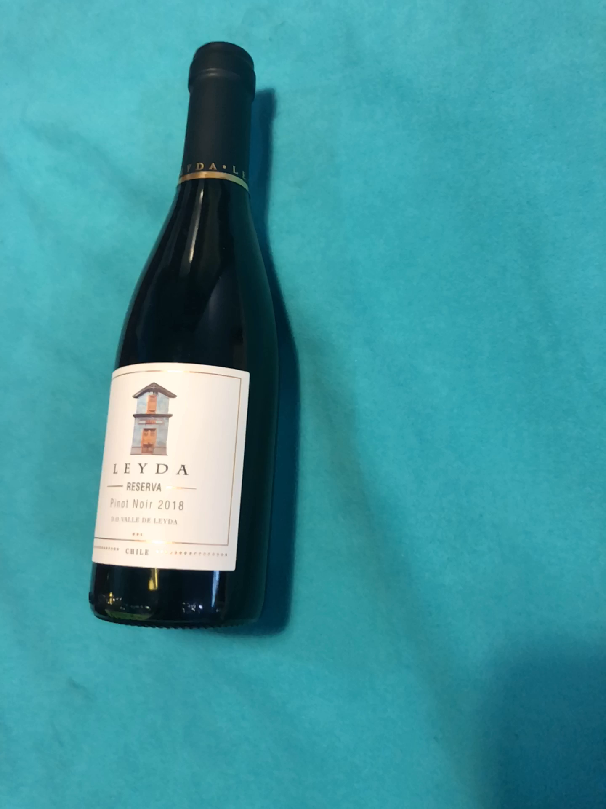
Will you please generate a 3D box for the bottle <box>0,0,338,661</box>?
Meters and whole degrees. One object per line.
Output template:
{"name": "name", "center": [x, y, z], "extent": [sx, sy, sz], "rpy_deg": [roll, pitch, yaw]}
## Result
{"name": "bottle", "center": [-0.045, -0.053, 0.251], "extent": [0.070, 0.080, 0.260], "rpy_deg": [1, 82, 27]}
